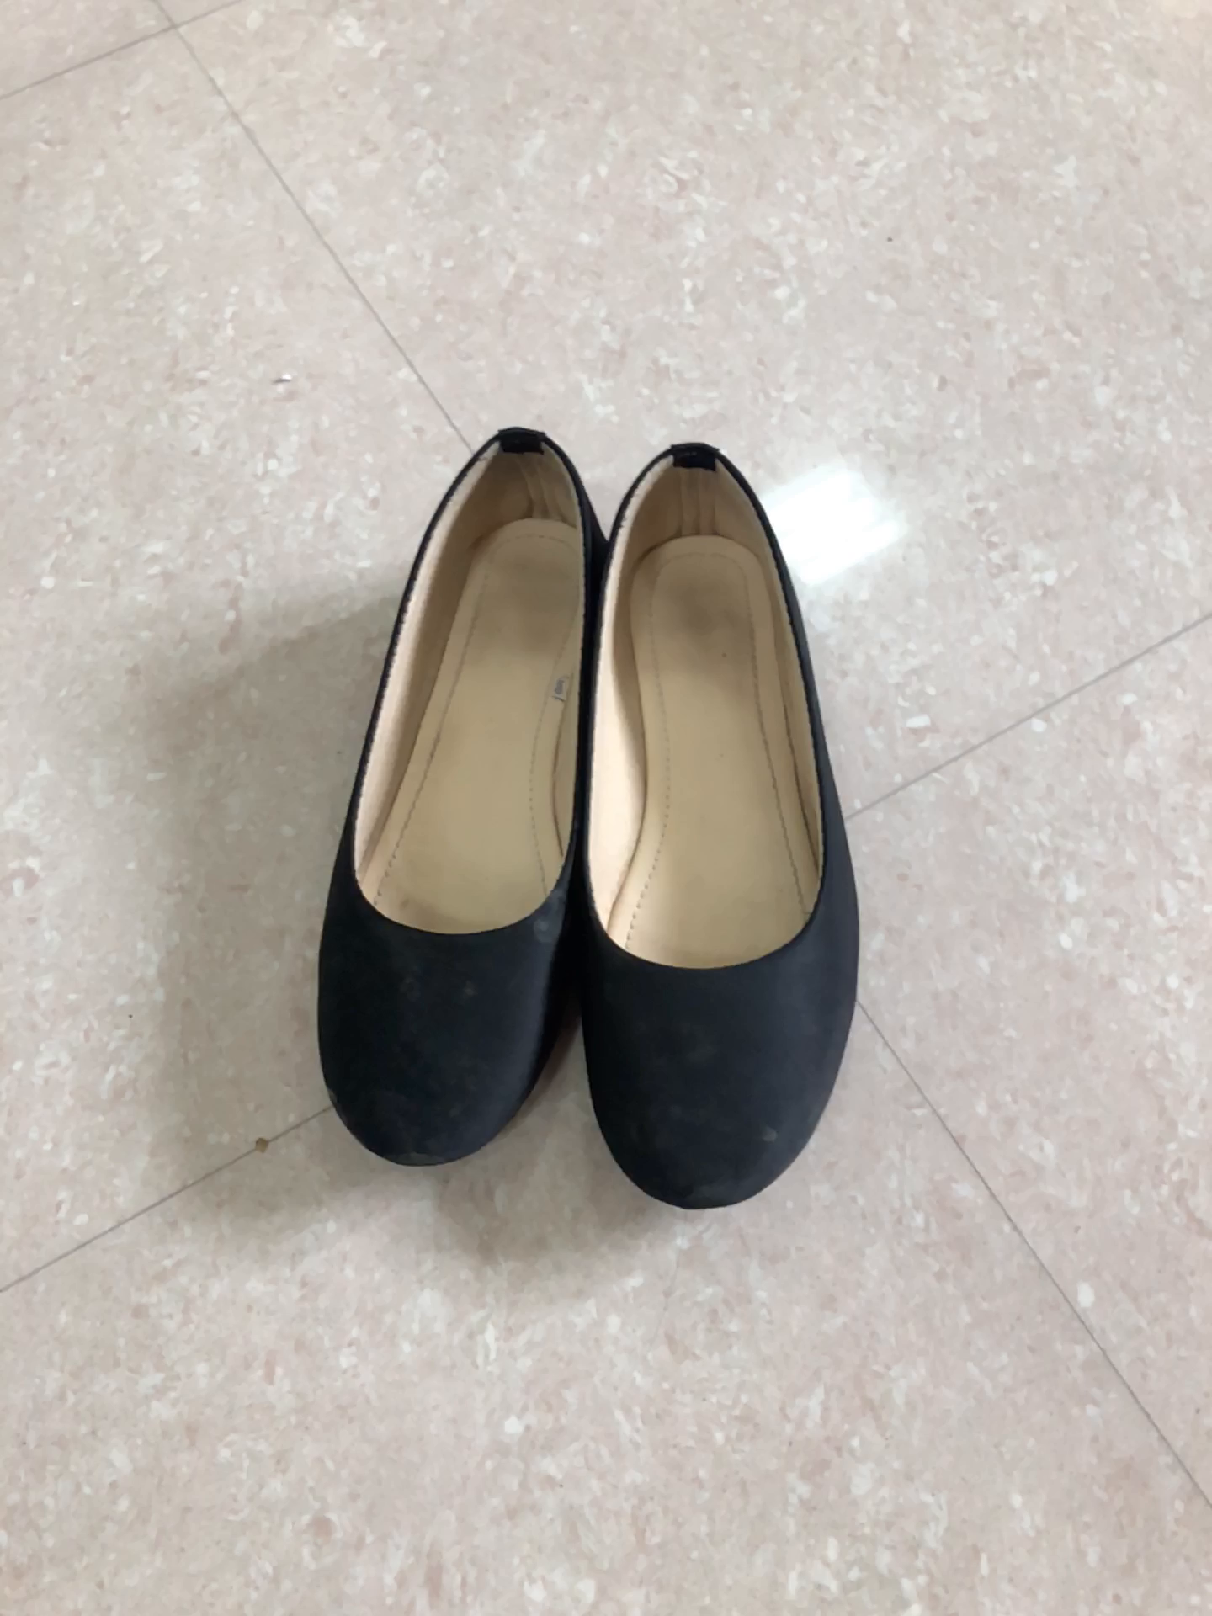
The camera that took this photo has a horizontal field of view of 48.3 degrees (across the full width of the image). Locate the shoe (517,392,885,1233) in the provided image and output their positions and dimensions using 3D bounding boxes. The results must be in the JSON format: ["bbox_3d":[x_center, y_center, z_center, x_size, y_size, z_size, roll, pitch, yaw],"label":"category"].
[{"bbox_3d":[0.030,-0.006,0.410,0.090,0.060,0.250,0,65,6],"label":"shoe"}]

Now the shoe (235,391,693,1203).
[{"bbox_3d":[-0.033,-0.012,0.431,0.090,0.060,0.250,5,66,9],"label":"shoe"}]
